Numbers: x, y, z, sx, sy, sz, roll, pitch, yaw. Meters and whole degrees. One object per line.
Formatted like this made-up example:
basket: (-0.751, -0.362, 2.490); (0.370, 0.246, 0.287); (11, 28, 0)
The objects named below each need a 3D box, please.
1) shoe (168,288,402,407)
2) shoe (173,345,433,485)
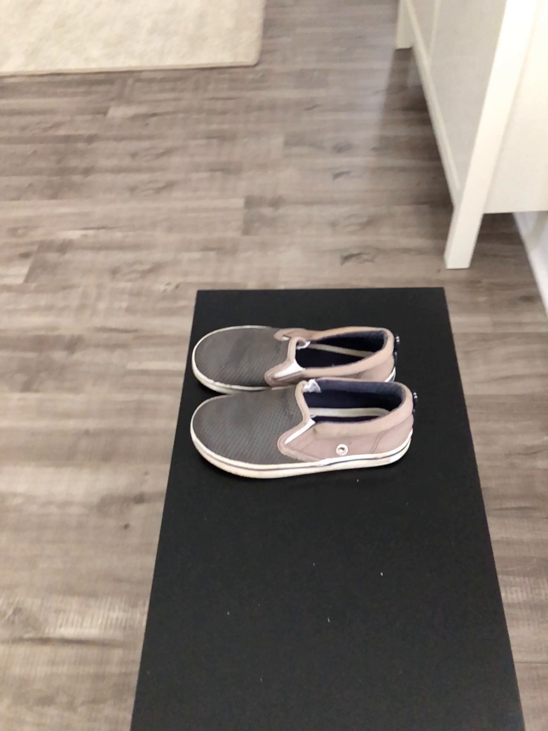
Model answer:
shoe: (0.012, -0.016, 0.541); (0.190, 0.070, 0.078); (0, 52, 5)
shoe: (0.022, 0.041, 0.493); (0.190, 0.070, 0.078); (-4, 52, 3)
